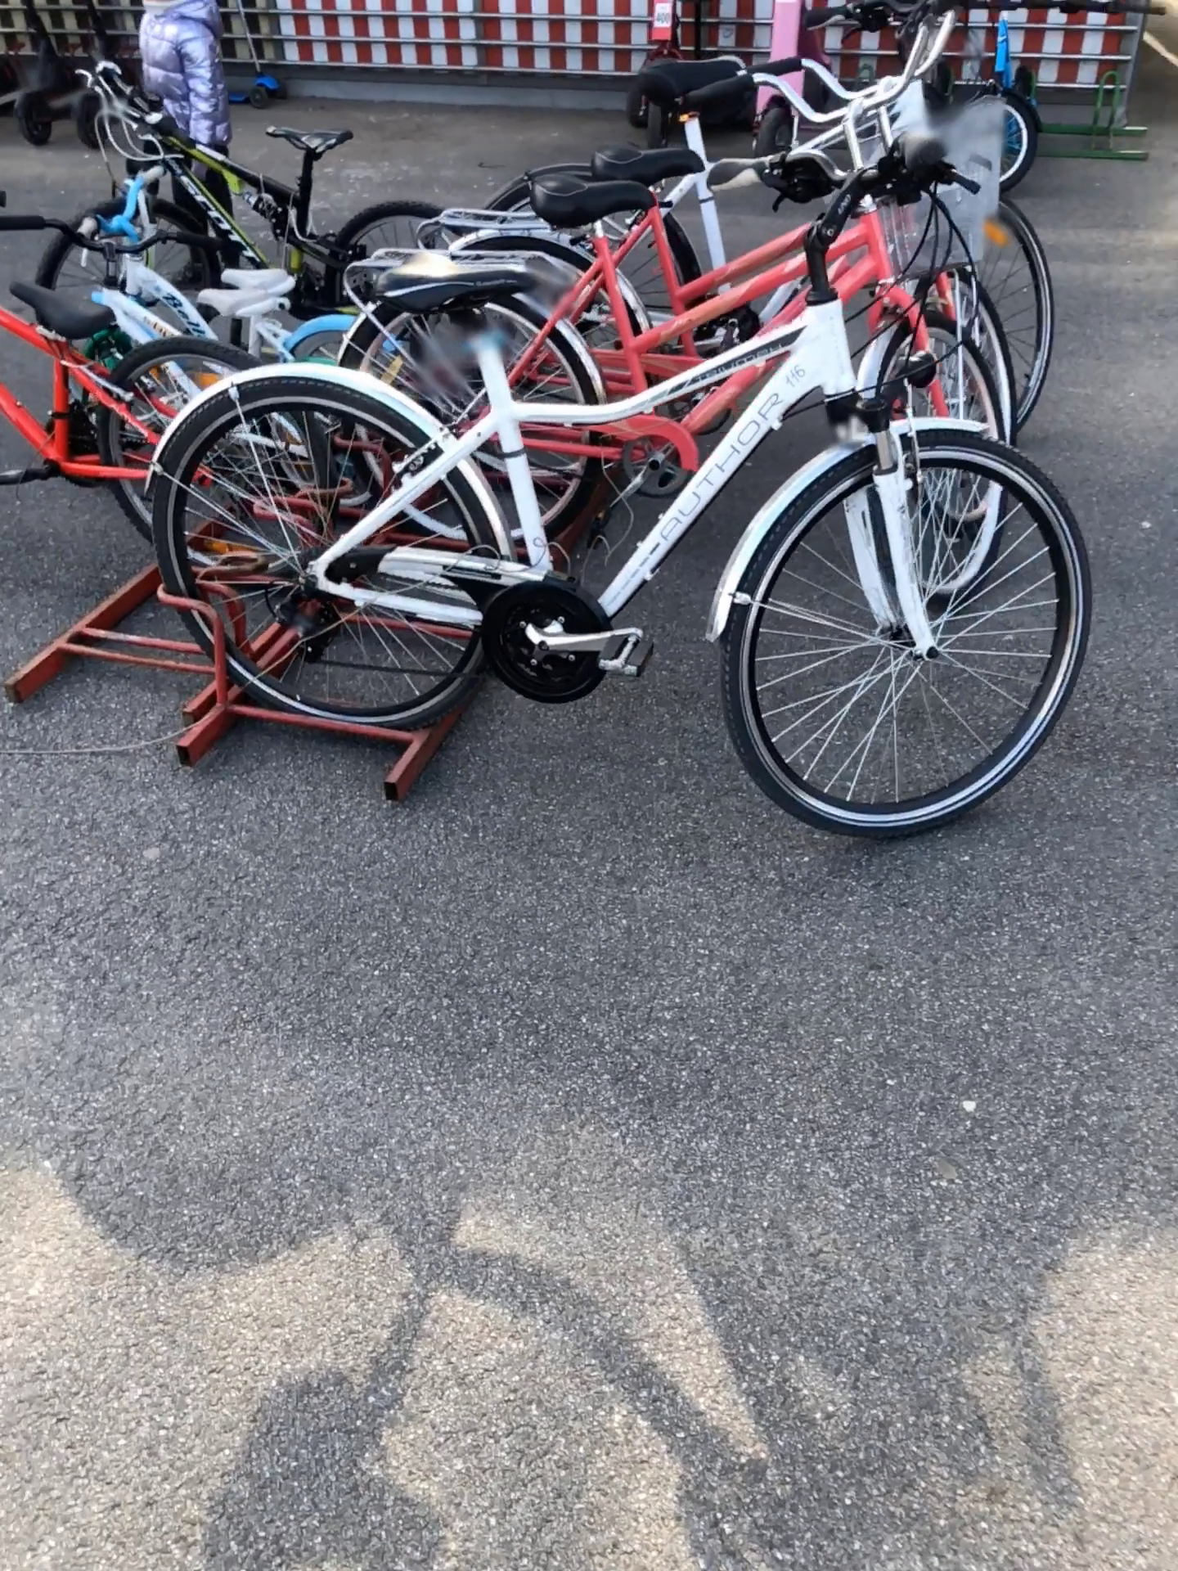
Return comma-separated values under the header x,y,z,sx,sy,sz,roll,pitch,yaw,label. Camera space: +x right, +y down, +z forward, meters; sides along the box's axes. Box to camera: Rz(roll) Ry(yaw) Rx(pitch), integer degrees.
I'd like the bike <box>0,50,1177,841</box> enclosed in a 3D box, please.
x,y,z,sx,sy,sz,roll,pitch,yaw,label
0.028,-0.582,2.253,1.697,1.111,0.648,4,39,8,bike
